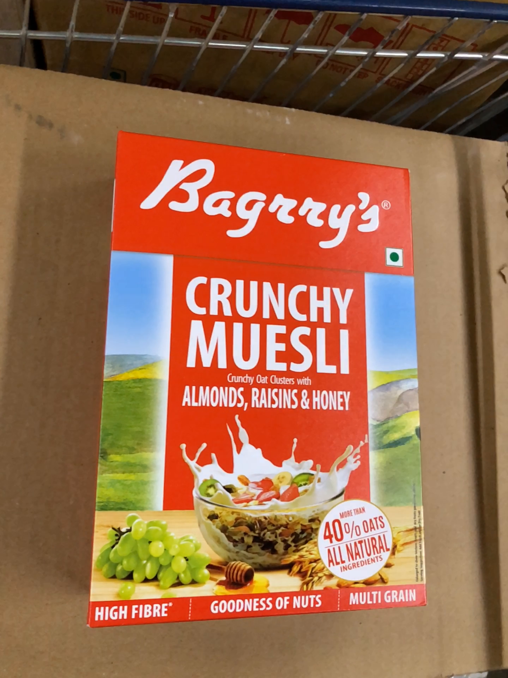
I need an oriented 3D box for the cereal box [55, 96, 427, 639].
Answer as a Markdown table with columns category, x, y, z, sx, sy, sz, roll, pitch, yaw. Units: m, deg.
| category | x | y | z | sx | sy | sz | roll | pitch | yaw |
| --- | --- | --- | --- | --- | --- | --- | --- | --- | --- |
| cereal box | -0.005 | 0.013 | 0.322 | 0.180 | 0.070 | 0.260 | 3 | 81 | -12 |
